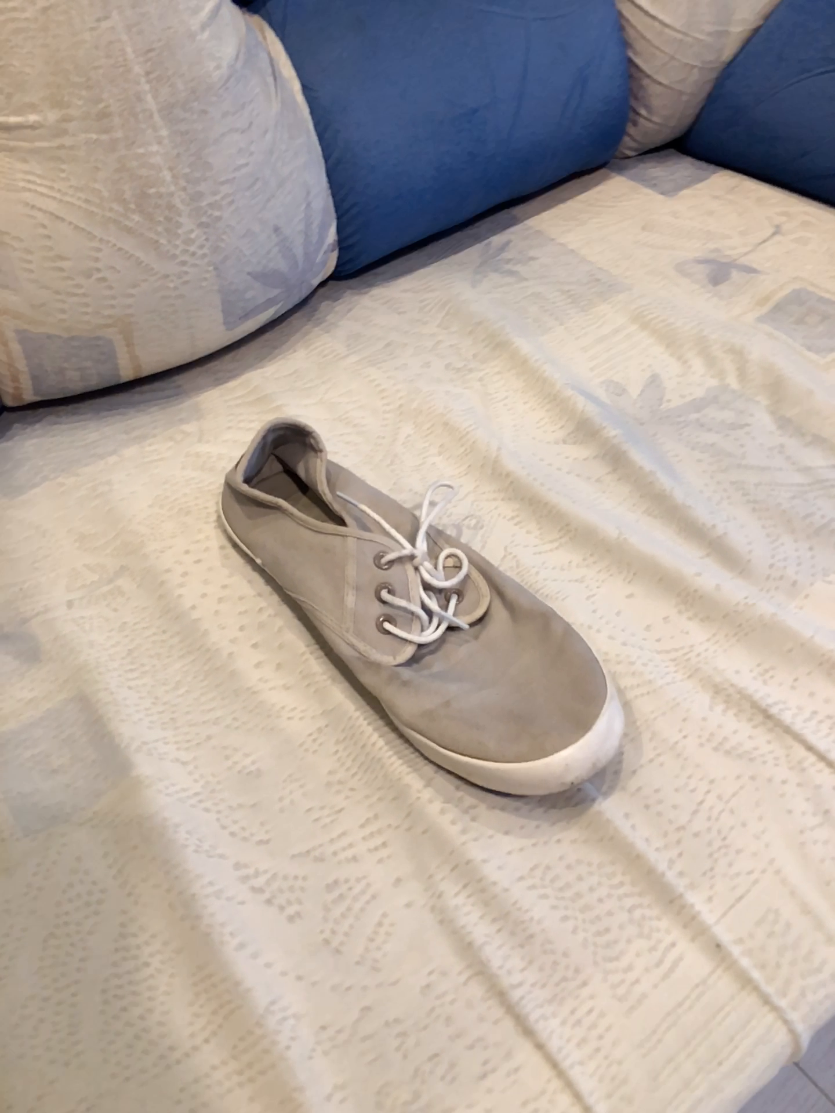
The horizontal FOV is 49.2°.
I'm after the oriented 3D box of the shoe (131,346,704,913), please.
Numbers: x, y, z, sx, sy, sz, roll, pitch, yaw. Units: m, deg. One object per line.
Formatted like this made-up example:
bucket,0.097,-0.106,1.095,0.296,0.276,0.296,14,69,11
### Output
shoe,-0.015,0.014,0.433,0.110,0.079,0.271,-31,53,-24
